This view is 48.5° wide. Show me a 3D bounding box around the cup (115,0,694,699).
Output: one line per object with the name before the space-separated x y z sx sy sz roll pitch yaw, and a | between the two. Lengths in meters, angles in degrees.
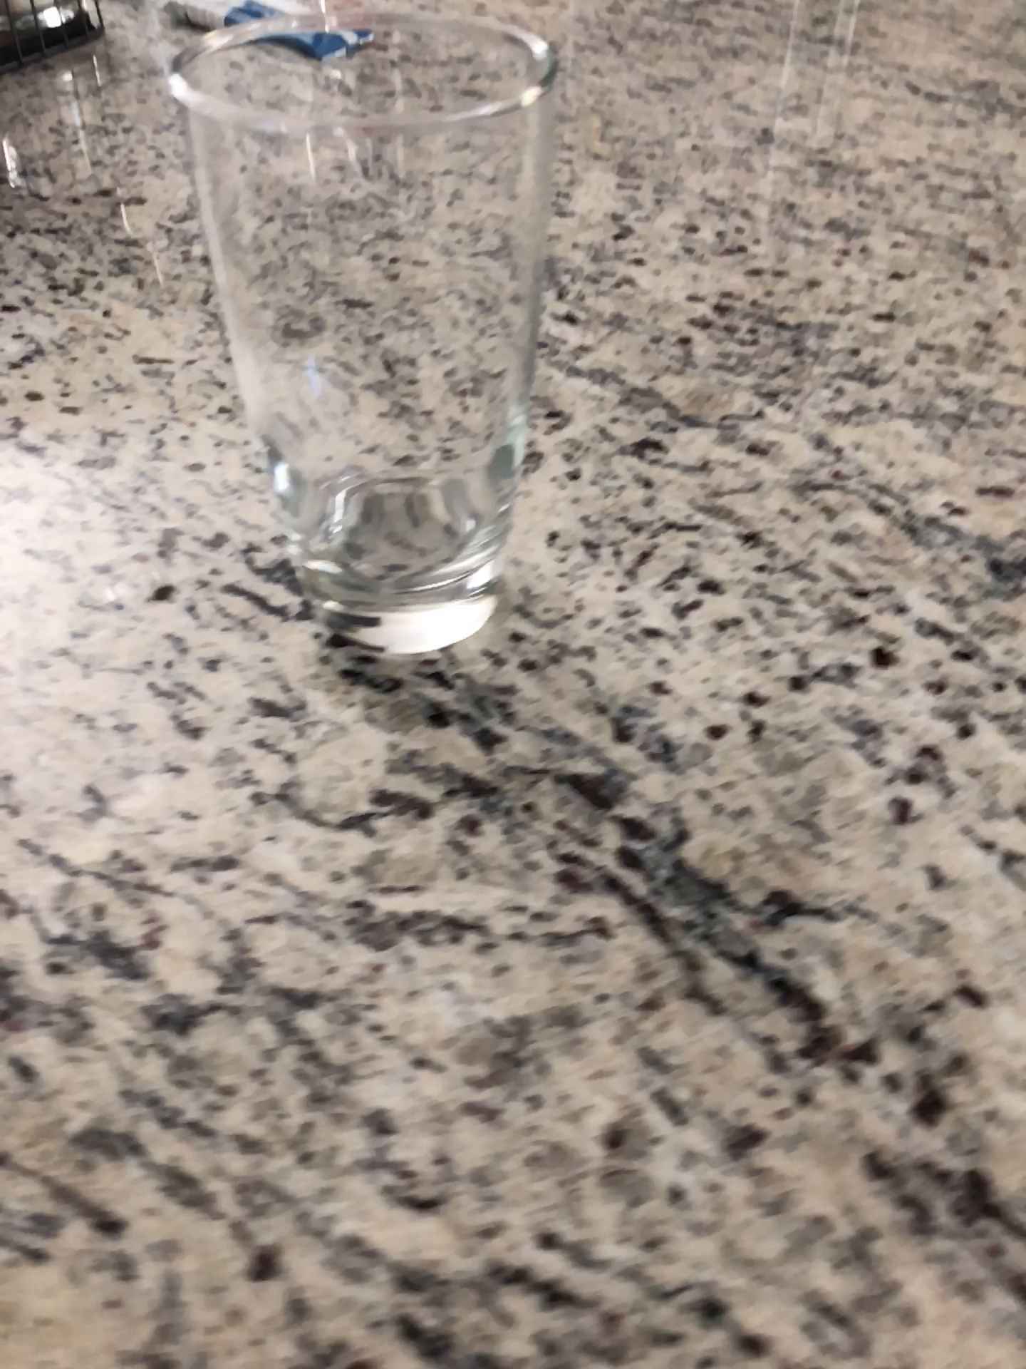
cup | -0.029 -0.087 0.281 0.100 0.129 0.101 0 43 0
